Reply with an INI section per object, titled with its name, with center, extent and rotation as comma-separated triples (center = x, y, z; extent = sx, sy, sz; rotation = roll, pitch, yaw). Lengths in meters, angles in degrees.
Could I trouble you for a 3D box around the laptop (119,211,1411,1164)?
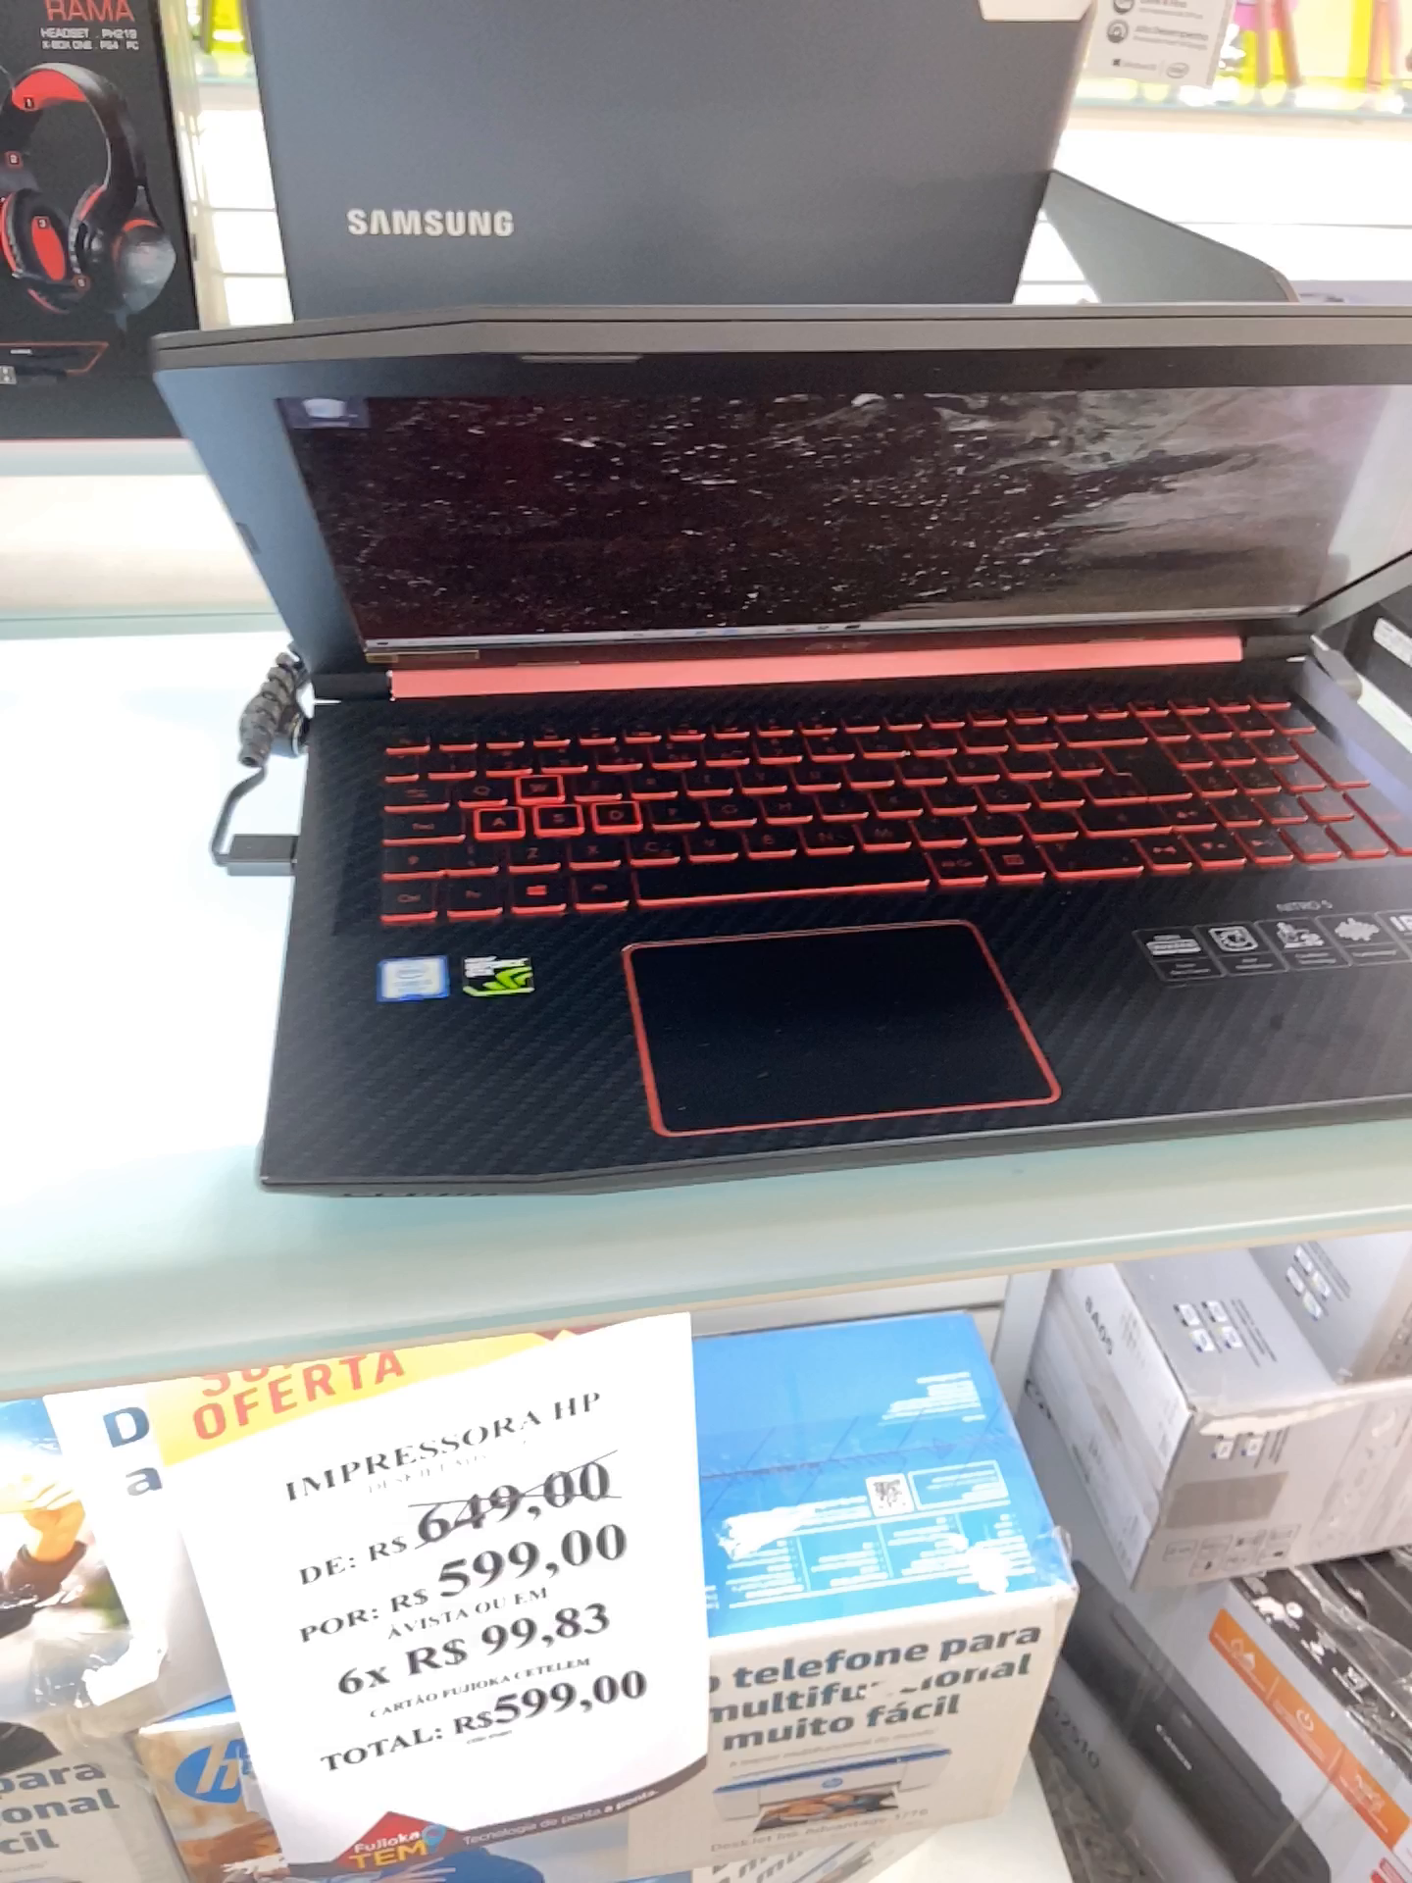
[laptop]
center = 0.066, -0.097, 0.416
extent = 0.380, 0.163, 0.235
rotation = -4, 36, -8
